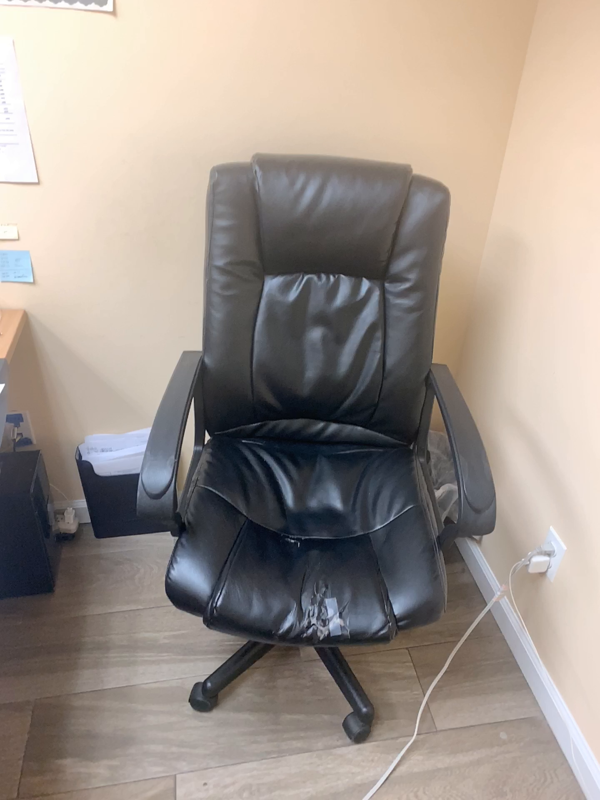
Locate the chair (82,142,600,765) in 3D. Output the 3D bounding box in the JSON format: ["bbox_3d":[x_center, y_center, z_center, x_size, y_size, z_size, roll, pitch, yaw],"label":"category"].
[{"bbox_3d":[0.054,0.122,1.264,0.648,1.083,0.630,4,32,1],"label":"chair"}]
